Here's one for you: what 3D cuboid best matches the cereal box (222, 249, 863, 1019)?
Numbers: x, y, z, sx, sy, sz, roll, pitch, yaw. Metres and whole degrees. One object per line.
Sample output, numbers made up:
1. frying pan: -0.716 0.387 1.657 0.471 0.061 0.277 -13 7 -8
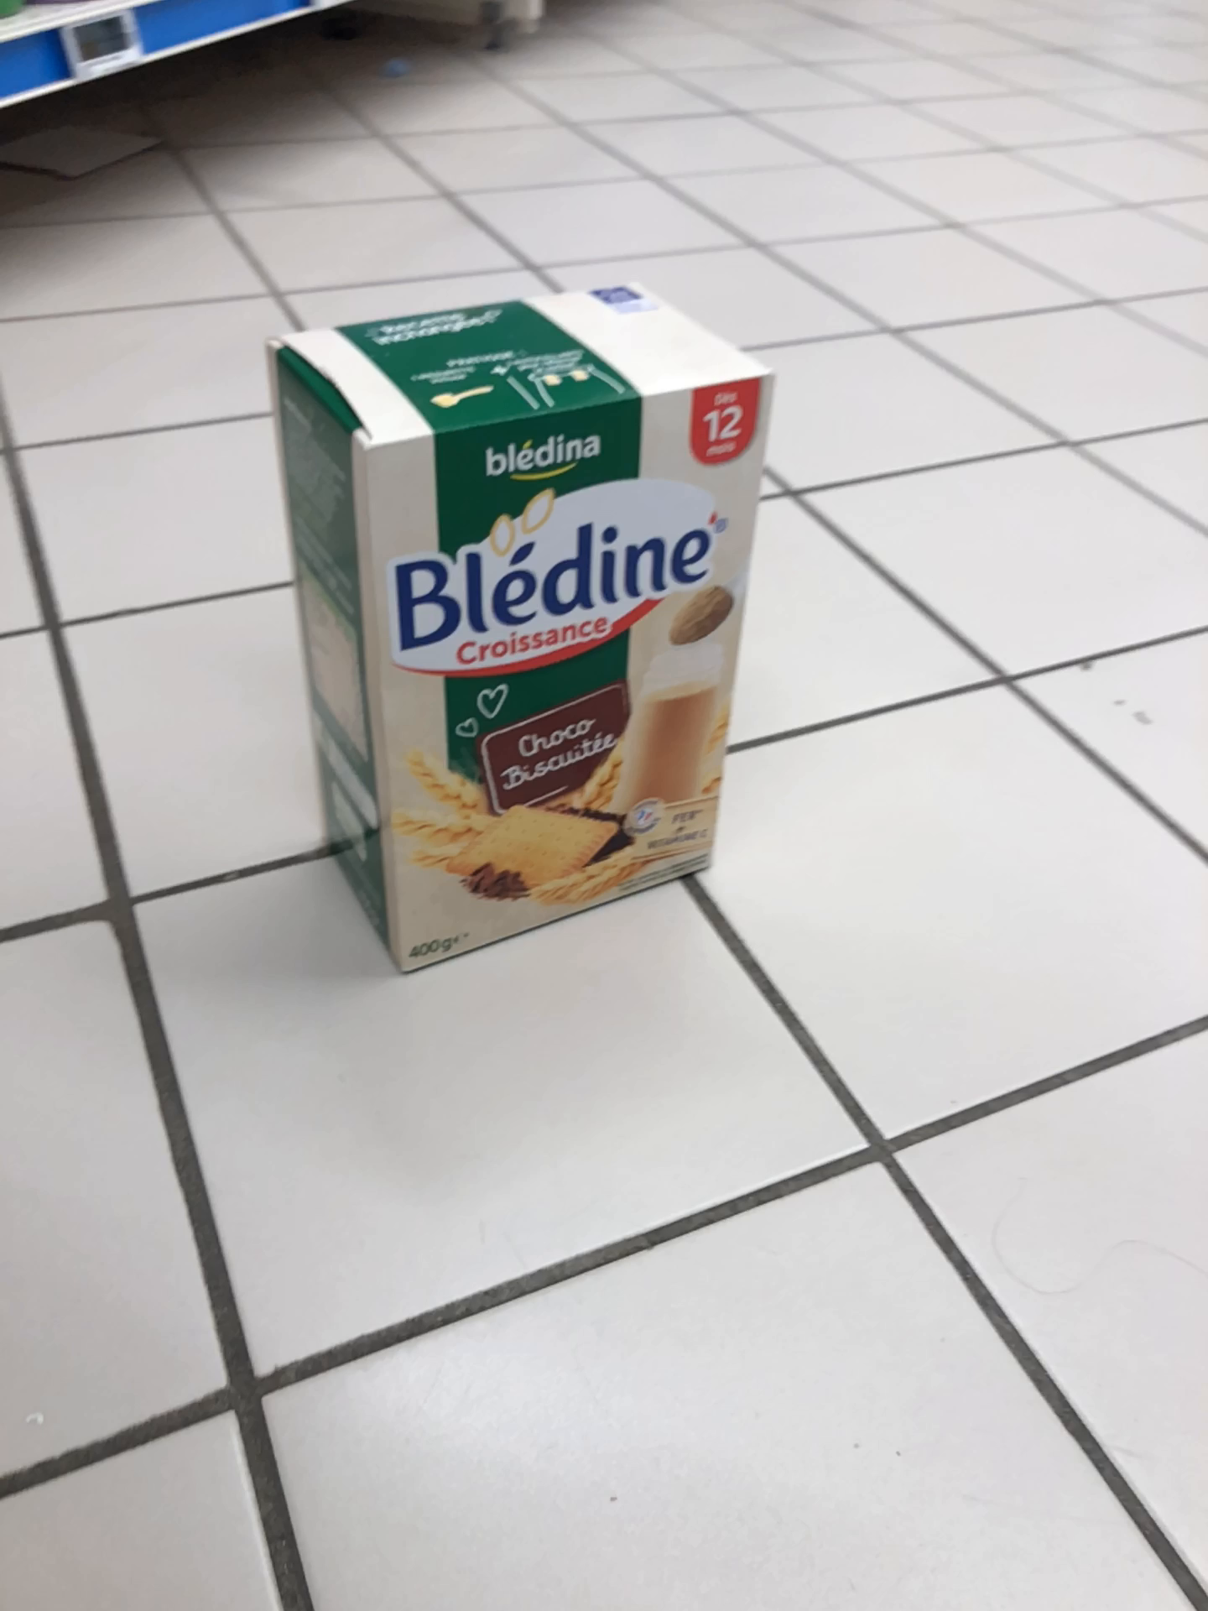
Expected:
1. cereal box: -0.025 -0.061 0.454 0.151 0.199 0.120 -17 43 -24
